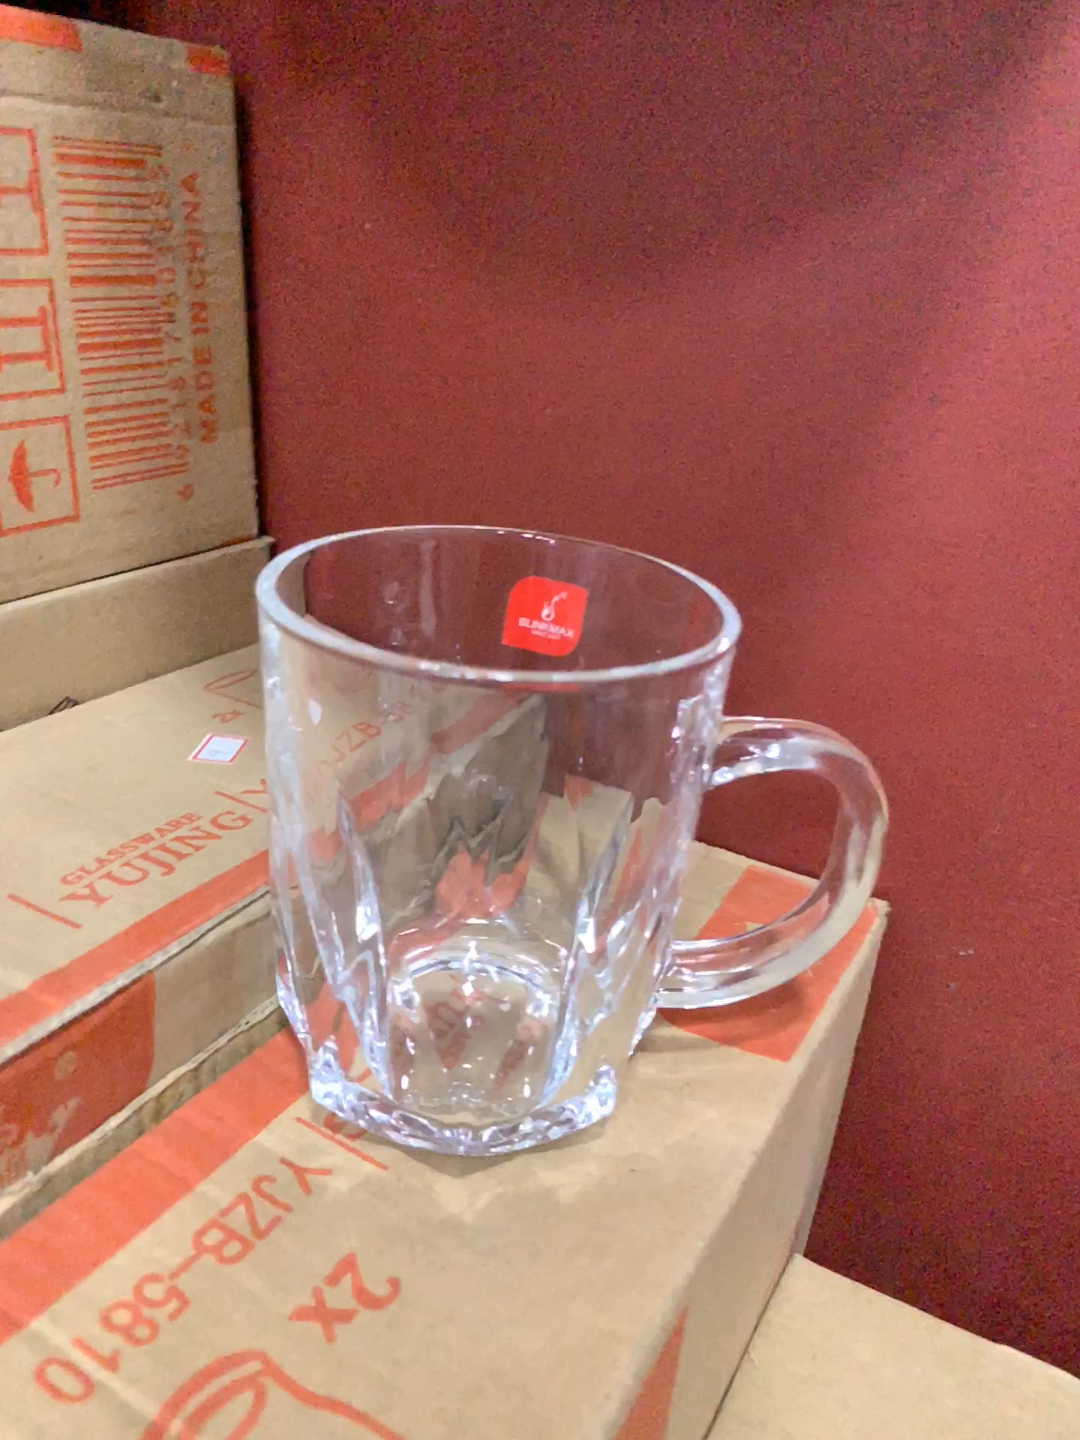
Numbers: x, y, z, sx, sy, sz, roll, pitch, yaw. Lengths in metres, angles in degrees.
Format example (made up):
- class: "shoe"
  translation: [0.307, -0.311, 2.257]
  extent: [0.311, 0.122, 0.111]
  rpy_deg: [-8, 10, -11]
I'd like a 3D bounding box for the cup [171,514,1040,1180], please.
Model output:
- class: "cup"
  translation: [0.004, 0.013, 0.171]
  extent: [0.100, 0.072, 0.069]
  rpy_deg: [0, 22, -8]
